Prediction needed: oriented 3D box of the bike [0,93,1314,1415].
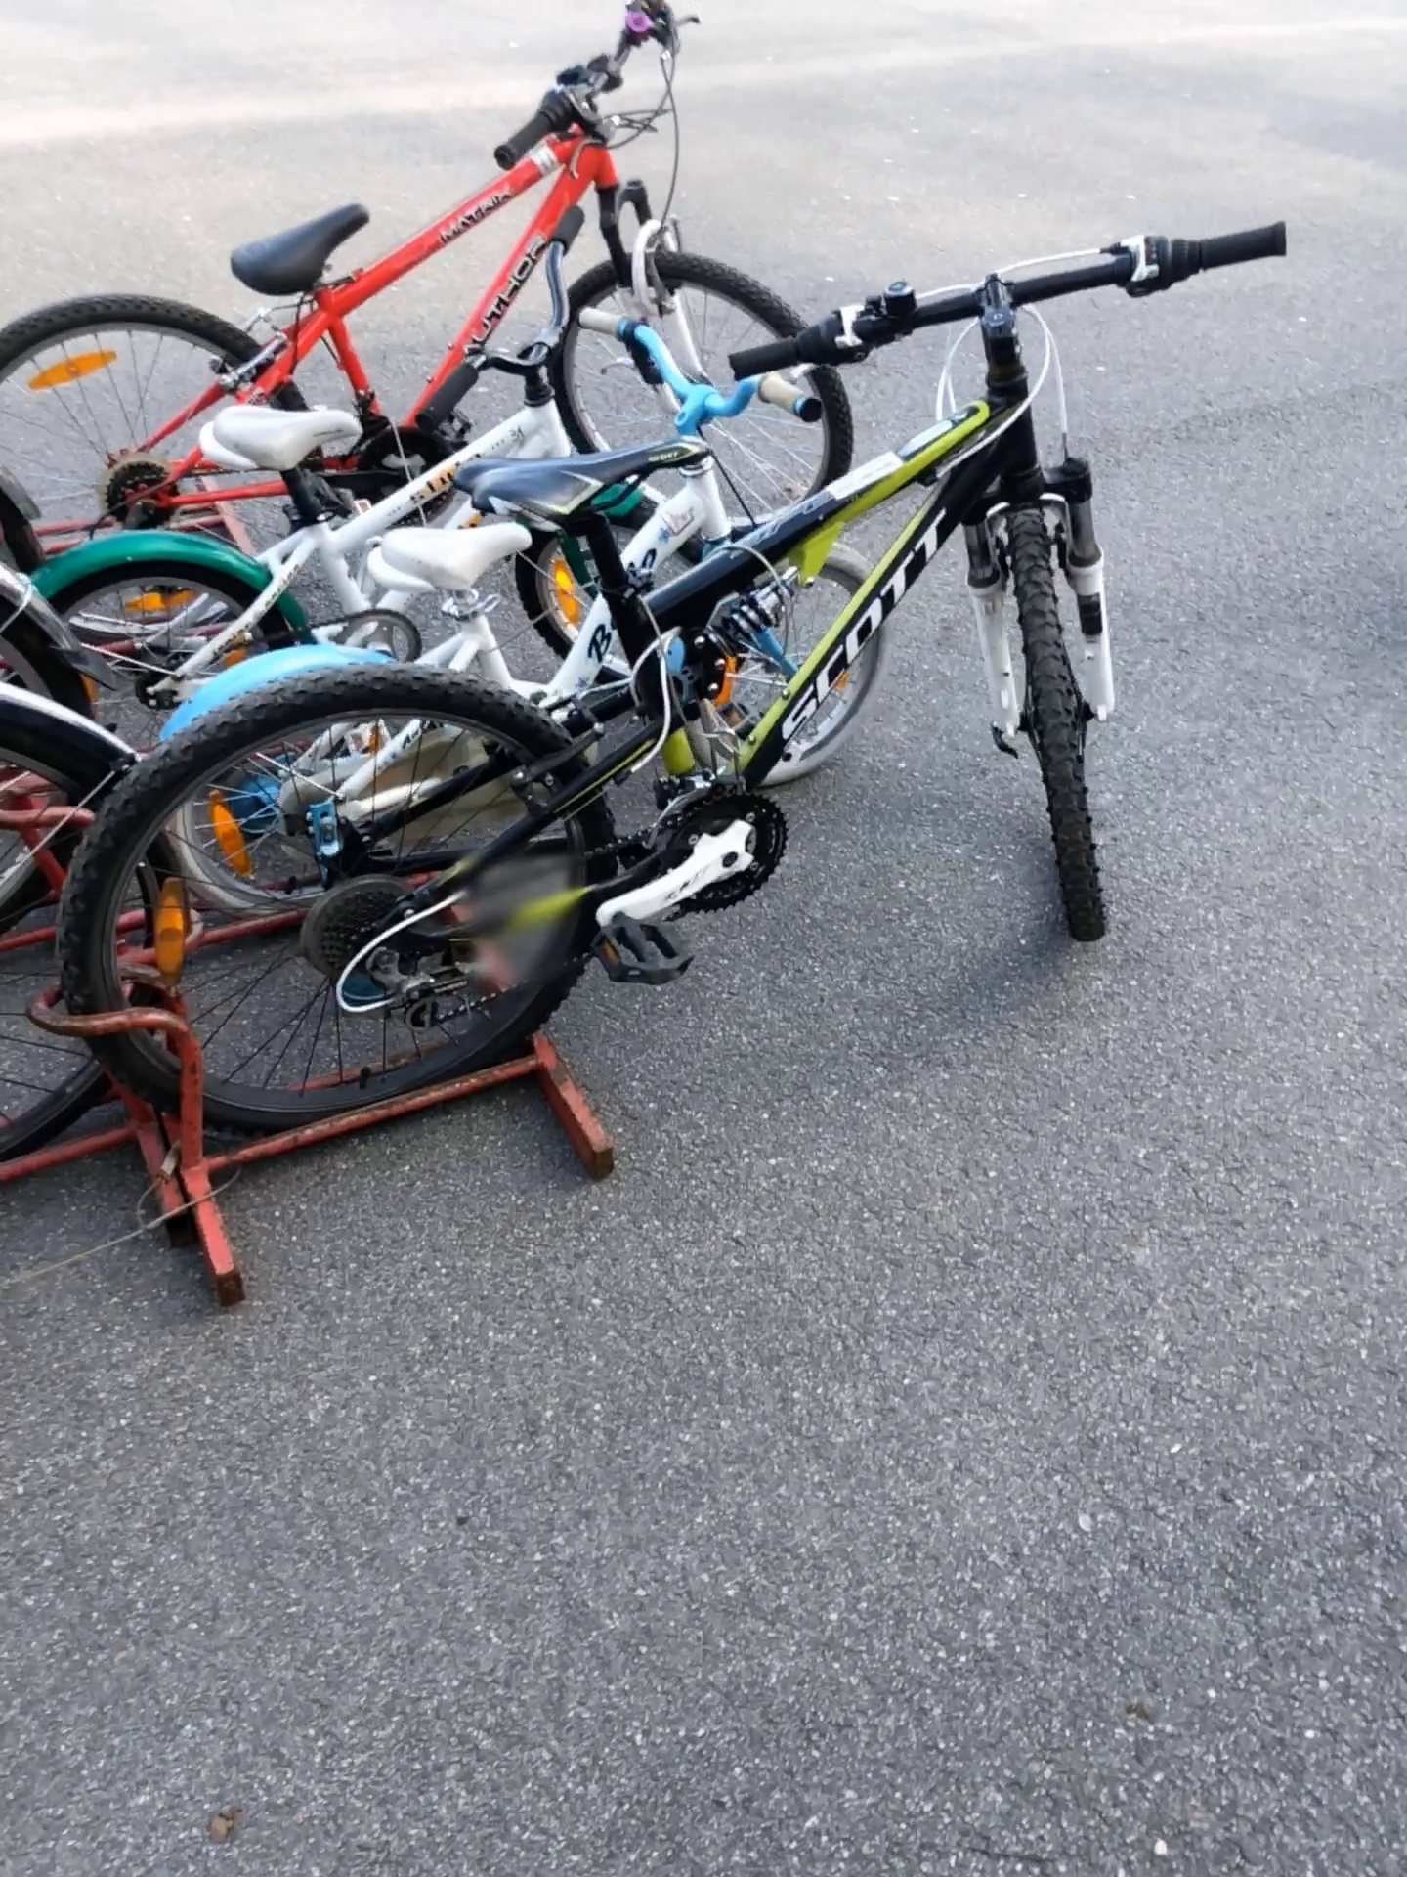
[{"bbox_3d":[-0.049,-0.307,1.716,1.376,0.901,0.530,-25,45,-28],"label":"bike"}]
